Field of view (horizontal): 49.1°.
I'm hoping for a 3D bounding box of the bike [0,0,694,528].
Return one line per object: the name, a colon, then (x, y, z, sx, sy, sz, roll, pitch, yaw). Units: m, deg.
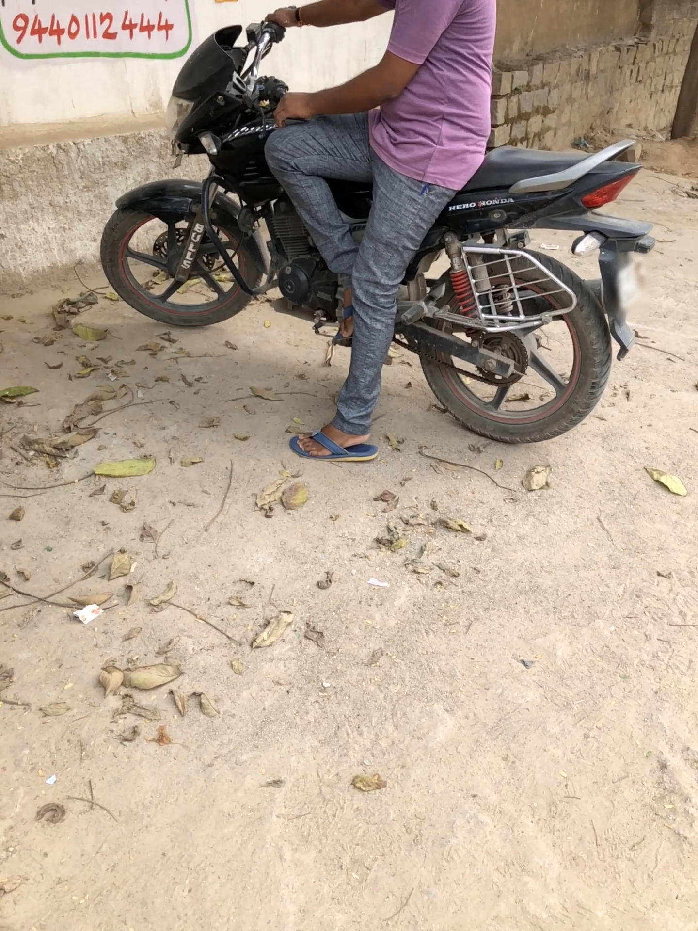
bike: (-0.098, -0.775, 2.371, 1.836, 1.190, 0.830, 16, 36, 19)
